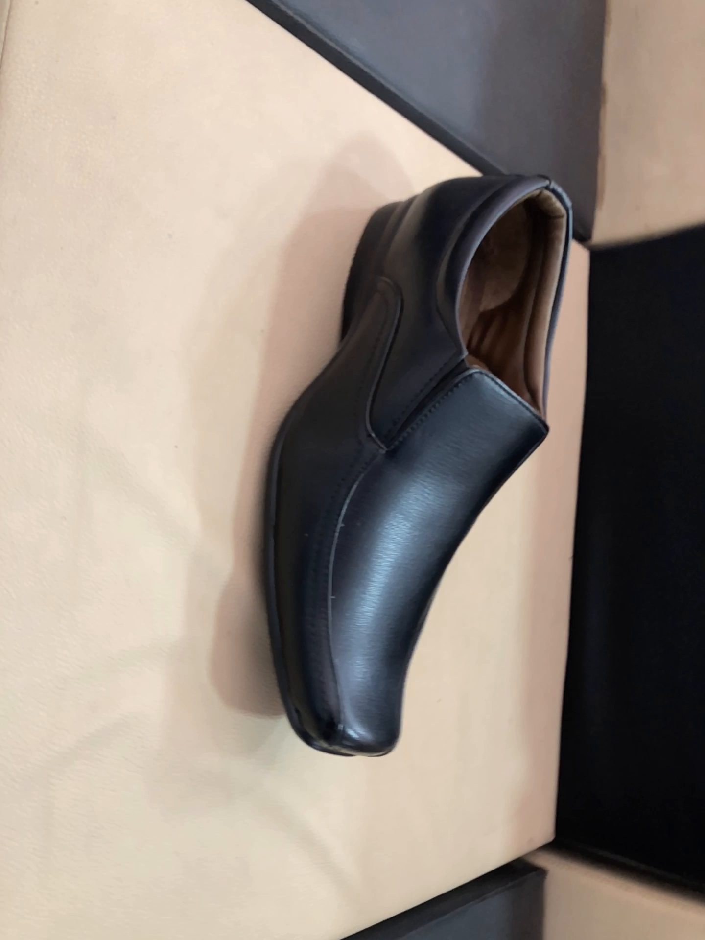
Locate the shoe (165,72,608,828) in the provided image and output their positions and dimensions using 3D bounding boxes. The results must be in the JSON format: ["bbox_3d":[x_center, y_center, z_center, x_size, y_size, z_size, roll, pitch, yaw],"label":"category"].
[{"bbox_3d":[0.027,-0.014,0.367,0.091,0.099,0.310,31,68,-43],"label":"shoe"}]
